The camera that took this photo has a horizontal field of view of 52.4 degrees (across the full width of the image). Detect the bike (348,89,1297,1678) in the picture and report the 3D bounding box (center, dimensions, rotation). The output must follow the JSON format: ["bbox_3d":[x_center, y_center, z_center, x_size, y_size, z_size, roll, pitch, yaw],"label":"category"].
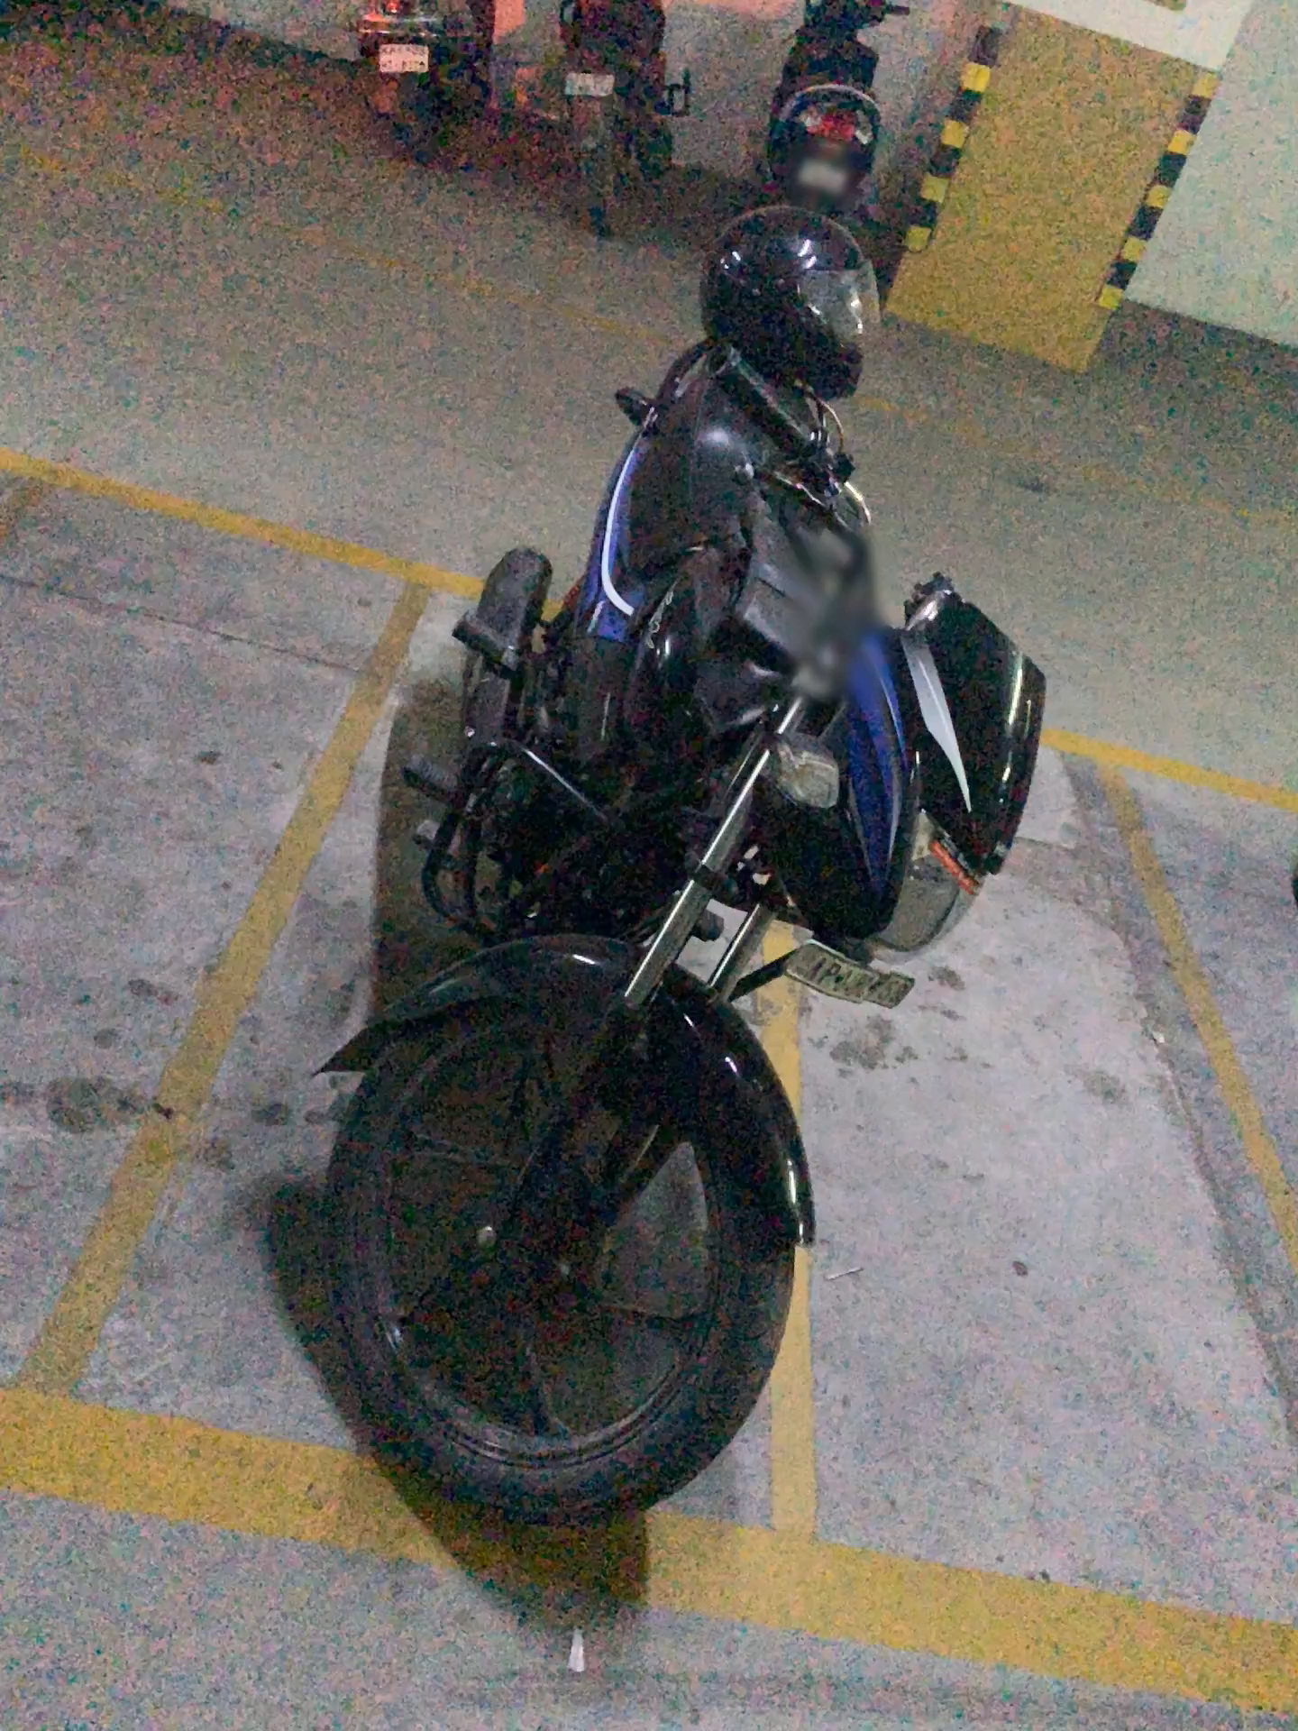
[{"bbox_3d":[0.144,-0.119,1.853,0.767,1.156,1.725,10,40,-11],"label":"bike"}]
